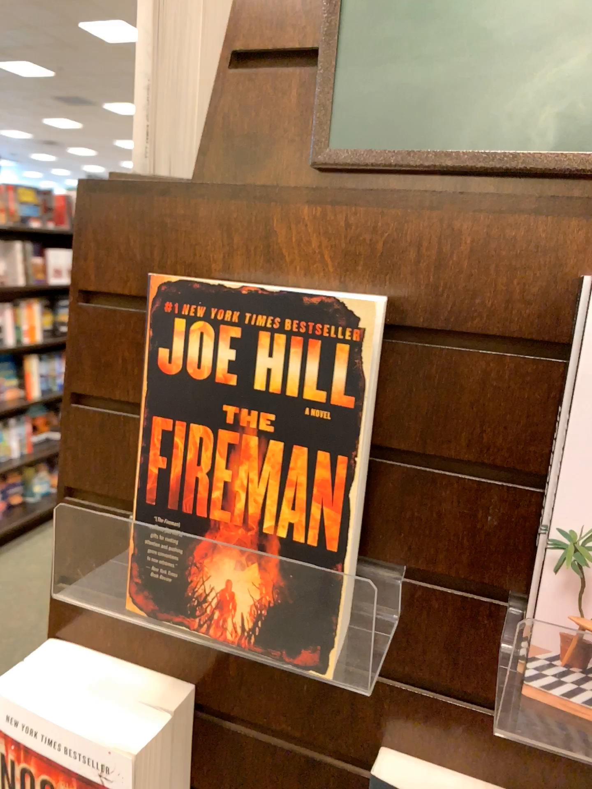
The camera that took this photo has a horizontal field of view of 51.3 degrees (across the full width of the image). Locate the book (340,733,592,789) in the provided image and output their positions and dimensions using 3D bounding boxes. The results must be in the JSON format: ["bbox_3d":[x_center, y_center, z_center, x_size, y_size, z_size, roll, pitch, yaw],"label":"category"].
[{"bbox_3d":[0.126,0.367,0.406,0.159,0.202,0.061,11,10,29],"label":"book"}]

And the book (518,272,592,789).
[{"bbox_3d":[0.222,0.056,0.292,0.188,0.208,0.026,11,10,29],"label":"book"}]

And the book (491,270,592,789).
[{"bbox_3d":[0.198,0.060,0.266,0.188,0.208,0.026,11,10,29],"label":"book"}]

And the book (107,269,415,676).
[{"bbox_3d":[-0.022,0.034,0.357,0.147,0.194,0.069,9,9,19],"label":"book"}]
